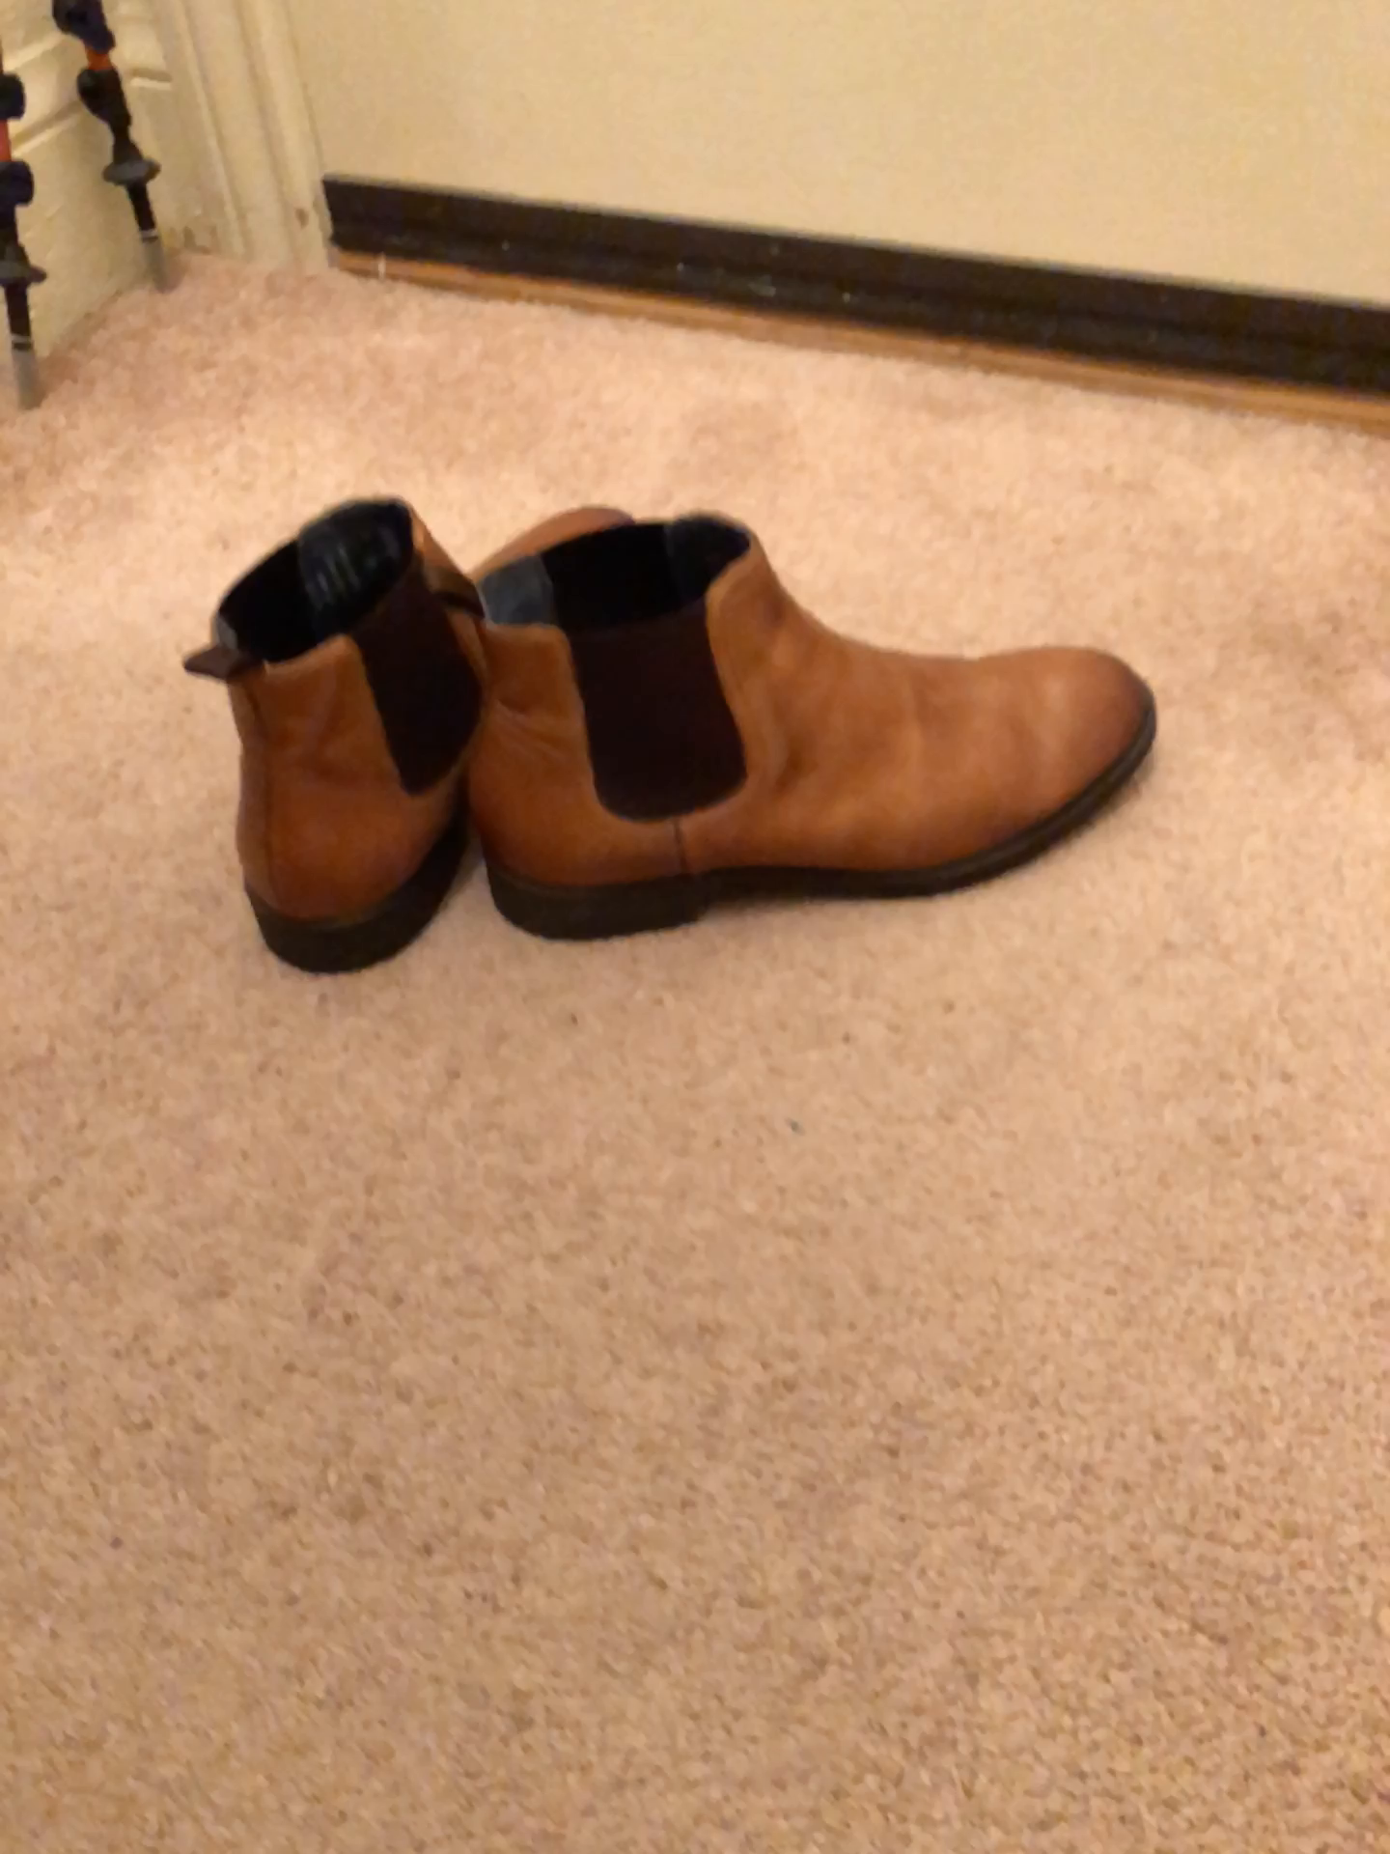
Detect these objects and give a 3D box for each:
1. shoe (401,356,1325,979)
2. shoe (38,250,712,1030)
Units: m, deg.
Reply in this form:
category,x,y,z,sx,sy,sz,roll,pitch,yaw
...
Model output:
category,x,y,z,sx,sy,sz,roll,pitch,yaw
shoe,0.058,-0.102,0.615,0.312,0.165,0.110,-11,48,-7
shoe,-0.109,-0.137,0.669,0.109,0.165,0.314,17,51,18
